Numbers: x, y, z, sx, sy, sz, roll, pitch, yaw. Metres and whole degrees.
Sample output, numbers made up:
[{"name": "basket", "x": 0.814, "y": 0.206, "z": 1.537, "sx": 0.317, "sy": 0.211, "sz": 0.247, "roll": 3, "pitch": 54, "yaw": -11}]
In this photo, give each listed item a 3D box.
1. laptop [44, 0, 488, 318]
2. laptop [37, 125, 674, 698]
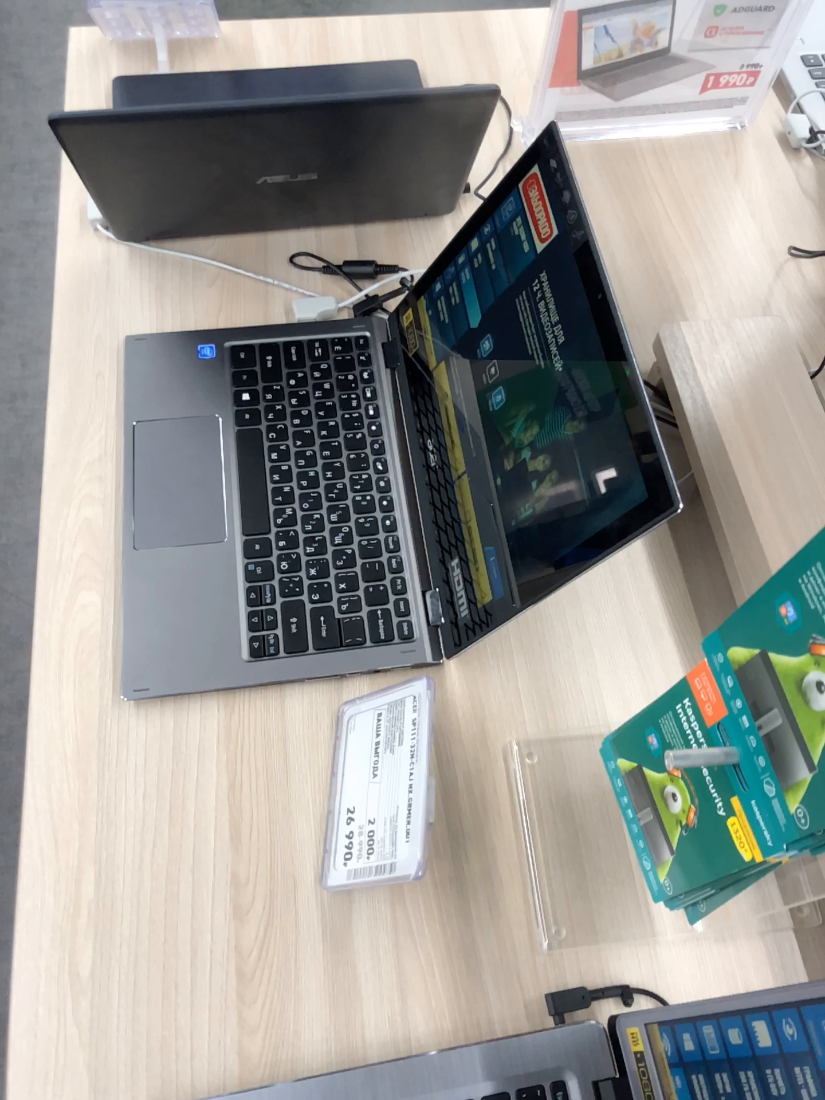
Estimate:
[{"name": "laptop", "x": -0.112, "y": -0.363, "z": 0.707, "sx": 0.275, "sy": 0.174, "sz": 0.287, "roll": -6, "pitch": 62, "yaw": -6}, {"name": "laptop", "x": -0.045, "y": -0.090, "z": 0.569, "sx": 0.303, "sy": 0.168, "sz": 0.288, "roll": -6, "pitch": 62, "yaw": -7}]
